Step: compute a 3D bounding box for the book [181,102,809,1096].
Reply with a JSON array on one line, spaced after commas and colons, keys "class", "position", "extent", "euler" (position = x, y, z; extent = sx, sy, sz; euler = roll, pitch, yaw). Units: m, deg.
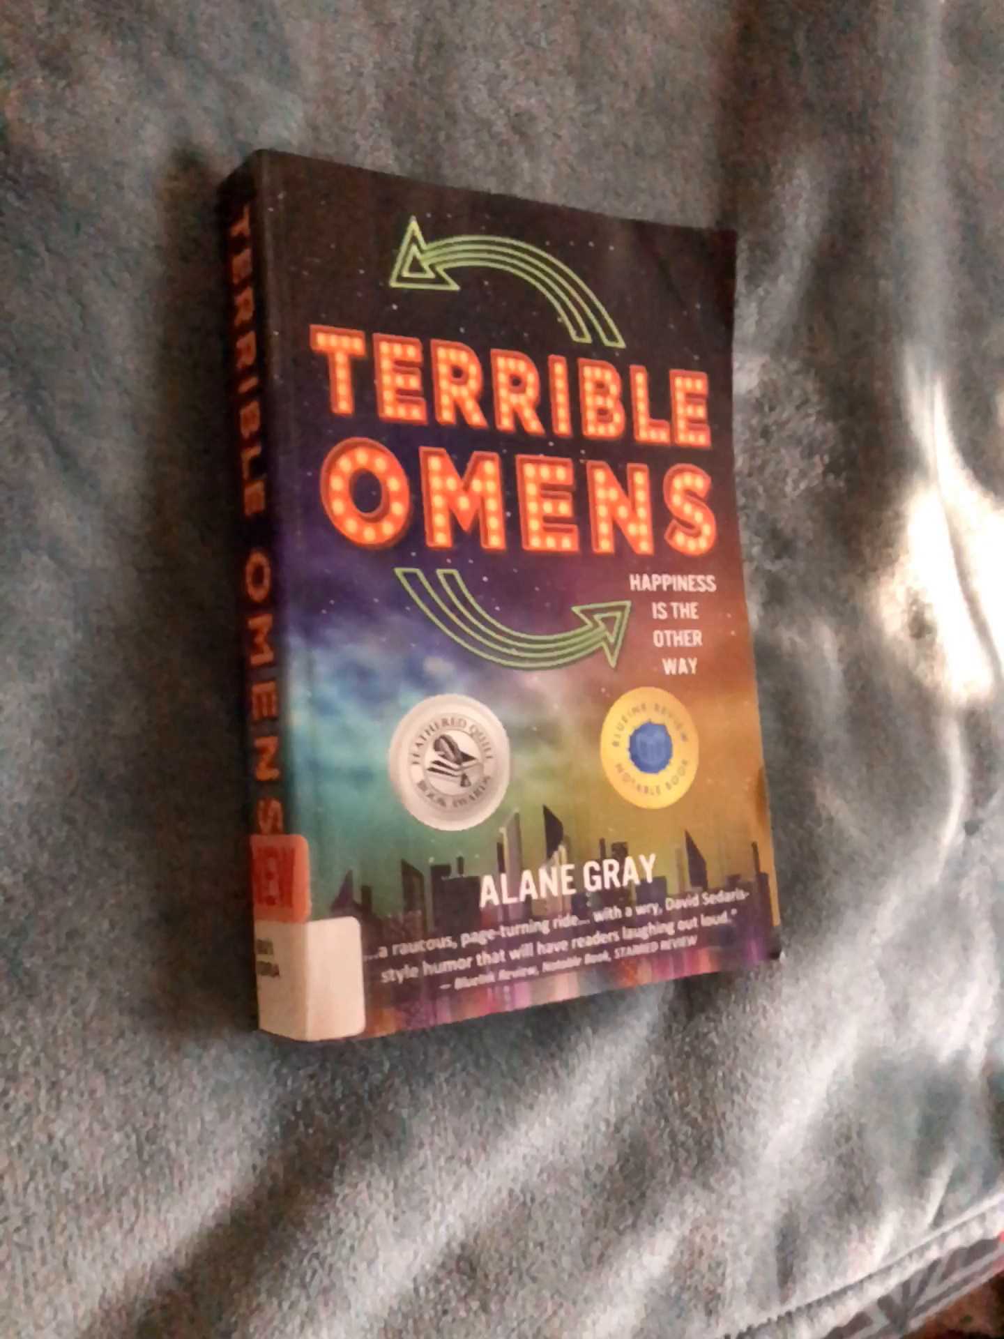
[{"class": "book", "position": [0.003, -0.018, 0.270], "extent": [0.141, 0.028, 0.200], "euler": [-2, 85, -30]}]
